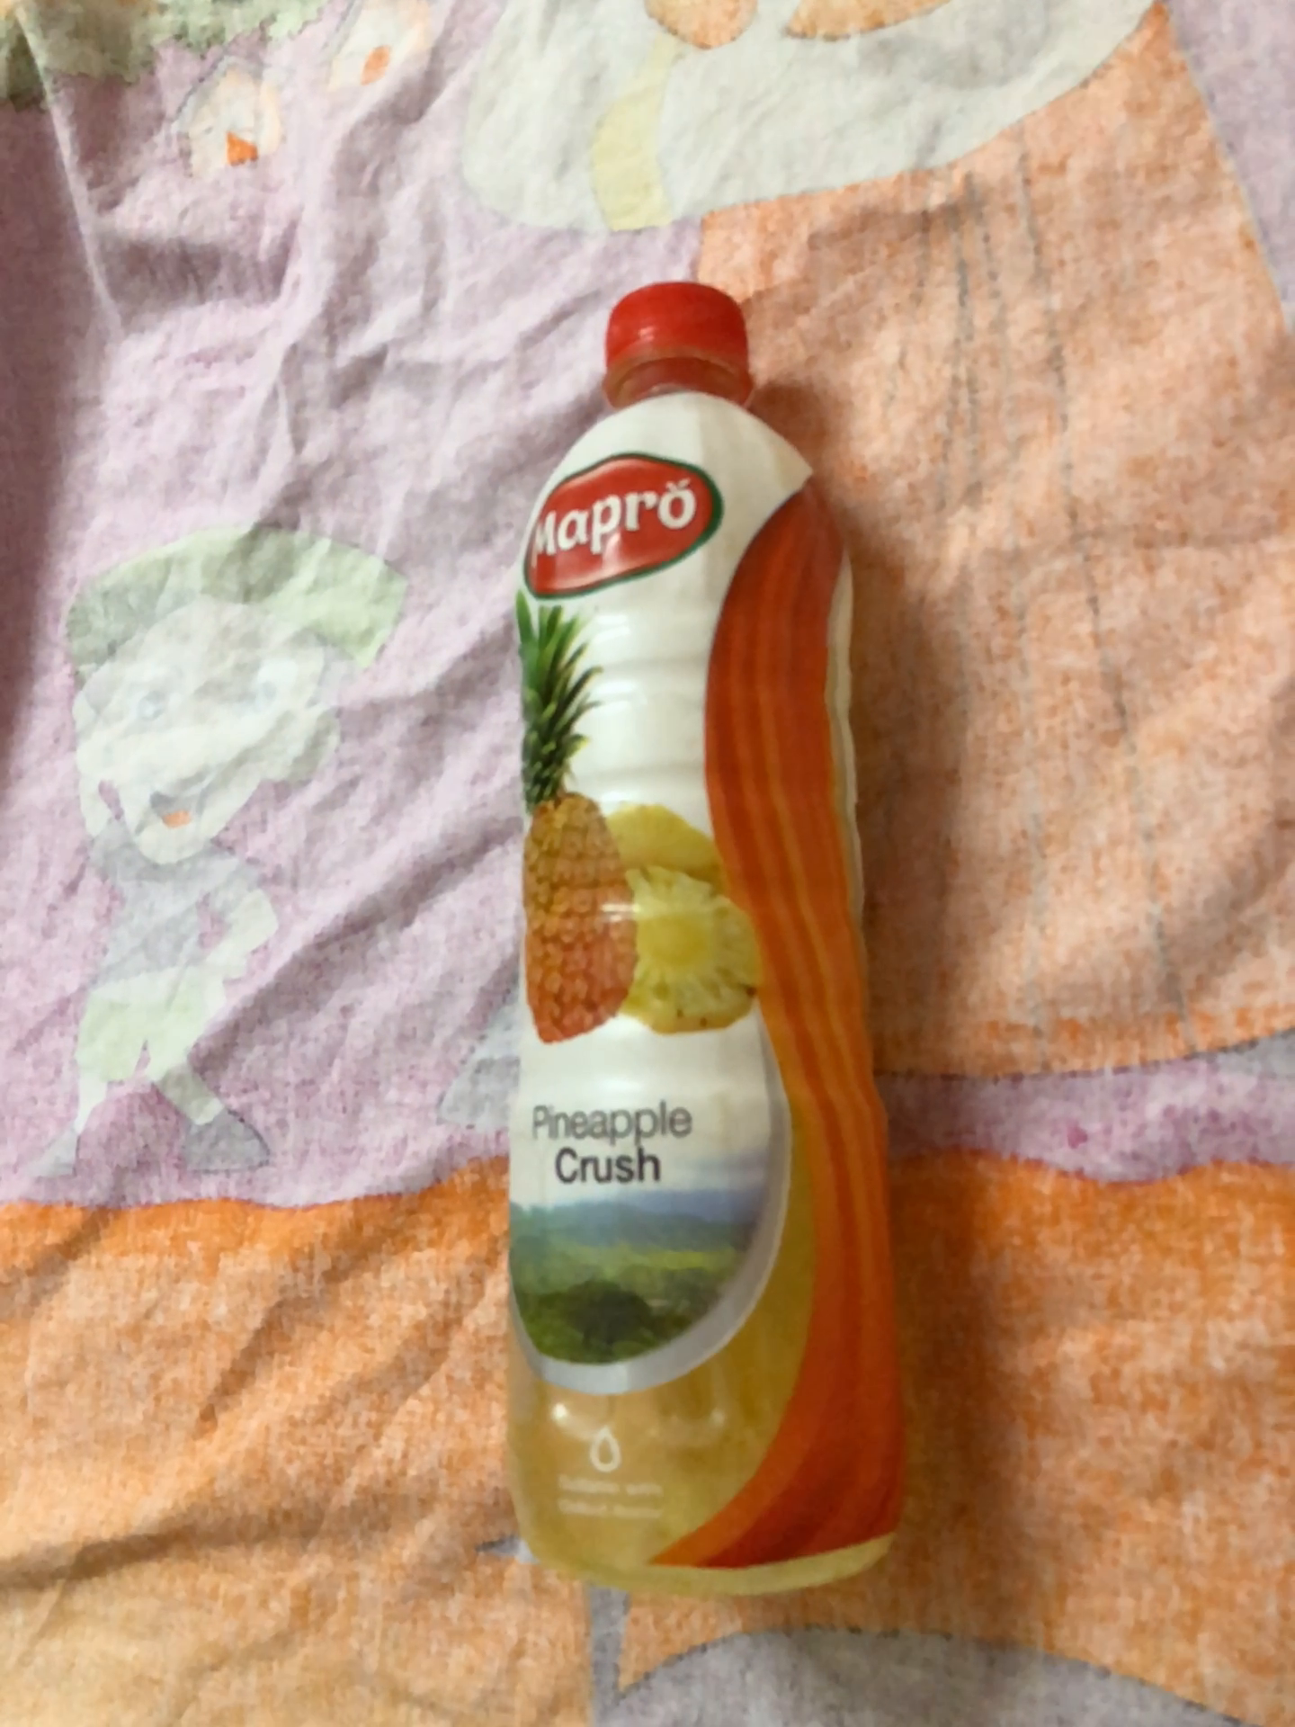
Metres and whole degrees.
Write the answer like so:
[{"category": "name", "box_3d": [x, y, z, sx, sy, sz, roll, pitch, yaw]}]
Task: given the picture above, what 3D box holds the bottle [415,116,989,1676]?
[{"category": "bottle", "box_3d": [0.008, 0.002, 0.271, 0.080, 0.060, 0.250, -7, 79, 28]}]
